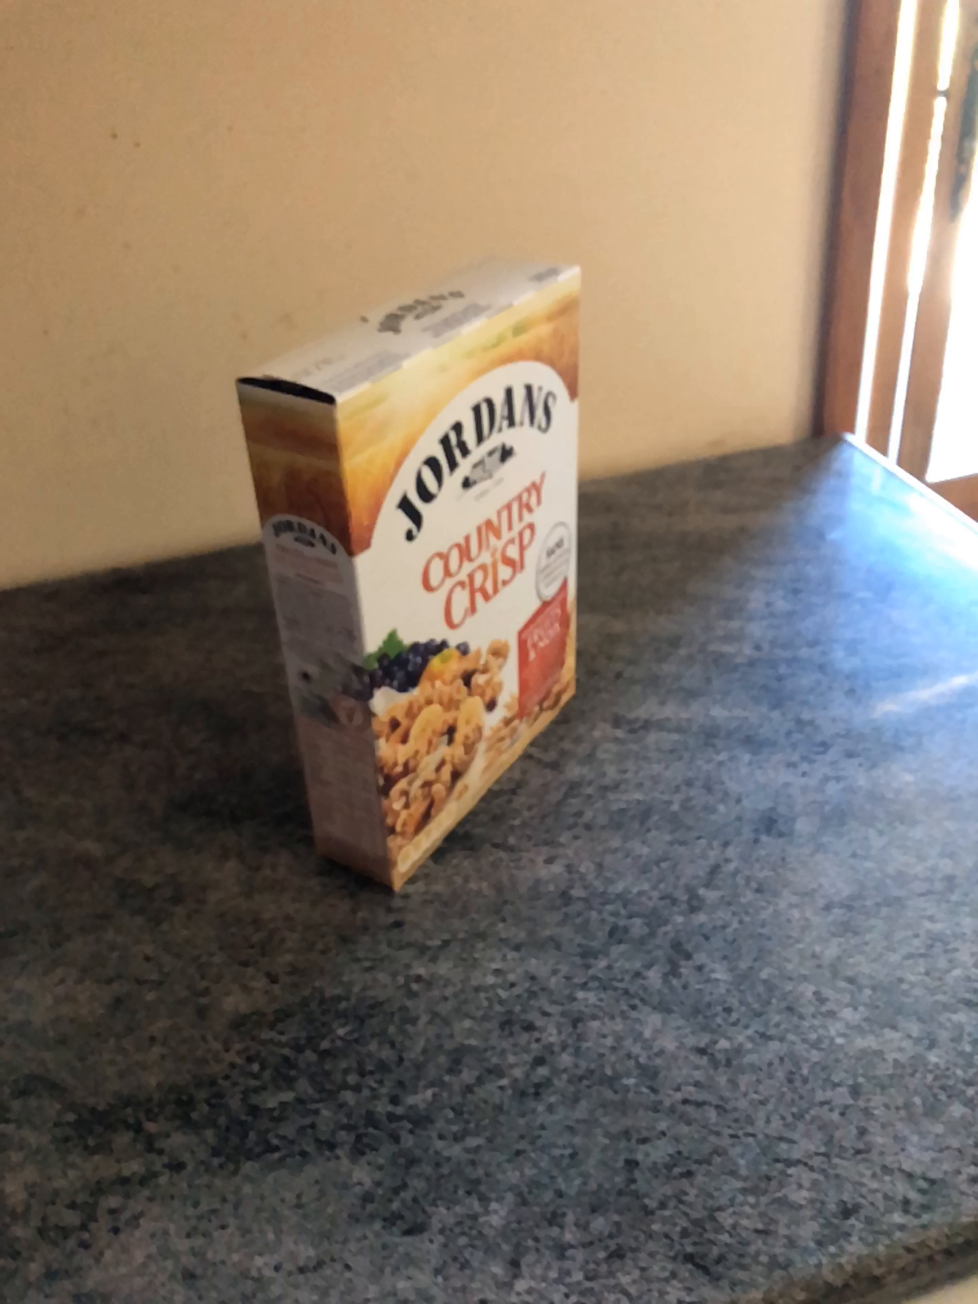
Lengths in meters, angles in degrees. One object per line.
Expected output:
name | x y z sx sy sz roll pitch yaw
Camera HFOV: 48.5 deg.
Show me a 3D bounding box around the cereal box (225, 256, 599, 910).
cereal box | -0.021 -0.037 0.522 0.060 0.248 0.191 17 37 26
